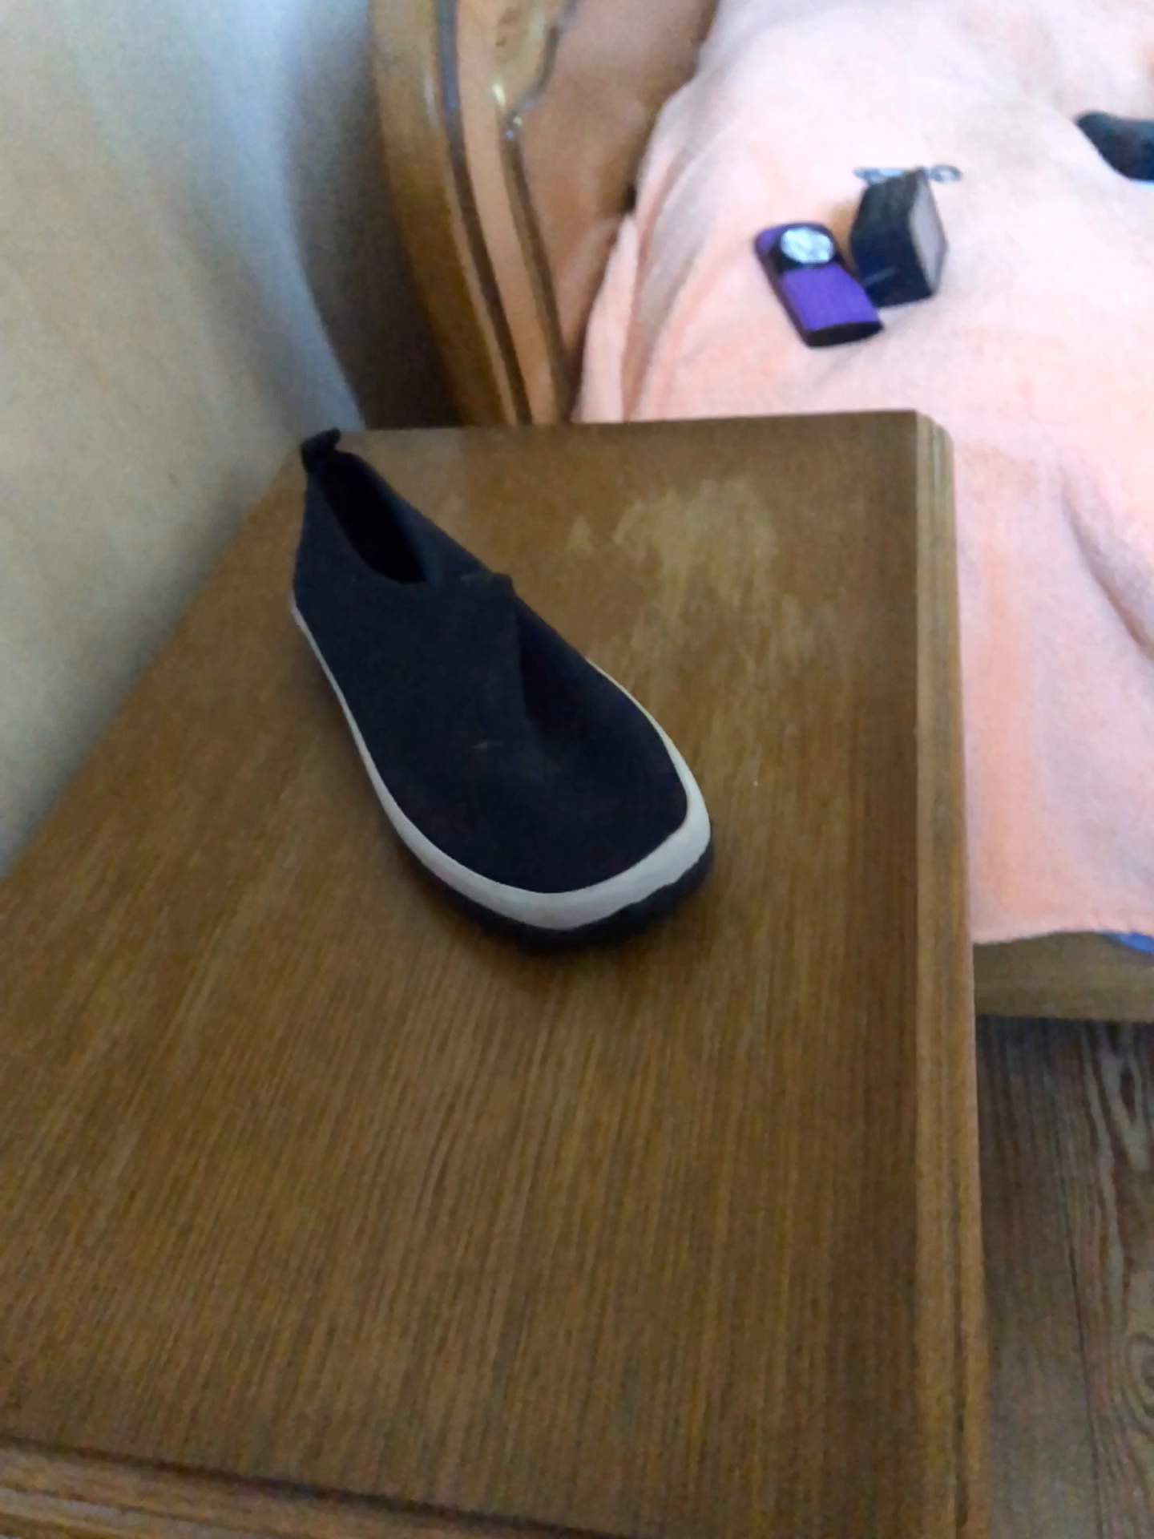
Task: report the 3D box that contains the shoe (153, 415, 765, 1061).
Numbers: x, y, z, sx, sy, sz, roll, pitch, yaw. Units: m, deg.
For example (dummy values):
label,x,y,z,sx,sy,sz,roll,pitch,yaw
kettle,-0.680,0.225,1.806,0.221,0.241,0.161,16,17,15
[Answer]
label,x,y,z,sx,sy,sz,roll,pitch,yaw
shoe,-0.055,-0.032,0.457,0.100,0.080,0.261,-28,43,-17
